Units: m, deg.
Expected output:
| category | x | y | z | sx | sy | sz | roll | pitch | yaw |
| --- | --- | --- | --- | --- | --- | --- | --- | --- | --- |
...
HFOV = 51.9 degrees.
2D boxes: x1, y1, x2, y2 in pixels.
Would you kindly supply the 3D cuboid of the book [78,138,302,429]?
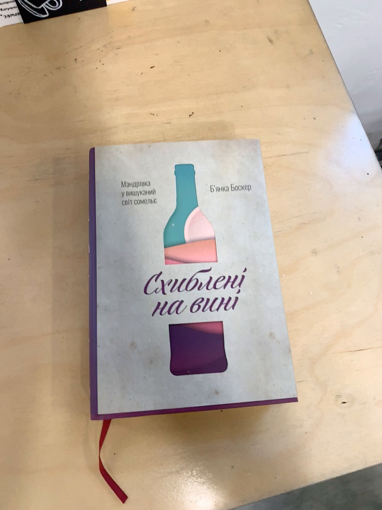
| category | x | y | z | sx | sy | sz | roll | pitch | yaw |
| --- | --- | --- | --- | --- | --- | --- | --- | --- | --- |
| book | -0.009 | 0.015 | 0.317 | 0.150 | 0.050 | 0.214 | -3 | 72 | -5 |
